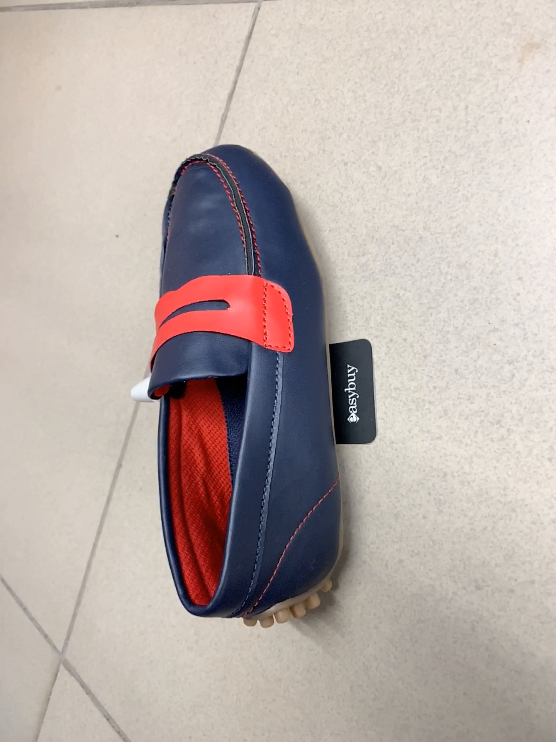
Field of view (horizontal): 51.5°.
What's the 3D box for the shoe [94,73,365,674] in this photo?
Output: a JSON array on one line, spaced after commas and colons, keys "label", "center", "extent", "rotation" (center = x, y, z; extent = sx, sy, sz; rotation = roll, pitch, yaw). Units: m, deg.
[{"label": "shoe", "center": [-0.024, 0.001, 0.233], "extent": [0.080, 0.050, 0.200], "rotation": [-13, 78, 37]}]
